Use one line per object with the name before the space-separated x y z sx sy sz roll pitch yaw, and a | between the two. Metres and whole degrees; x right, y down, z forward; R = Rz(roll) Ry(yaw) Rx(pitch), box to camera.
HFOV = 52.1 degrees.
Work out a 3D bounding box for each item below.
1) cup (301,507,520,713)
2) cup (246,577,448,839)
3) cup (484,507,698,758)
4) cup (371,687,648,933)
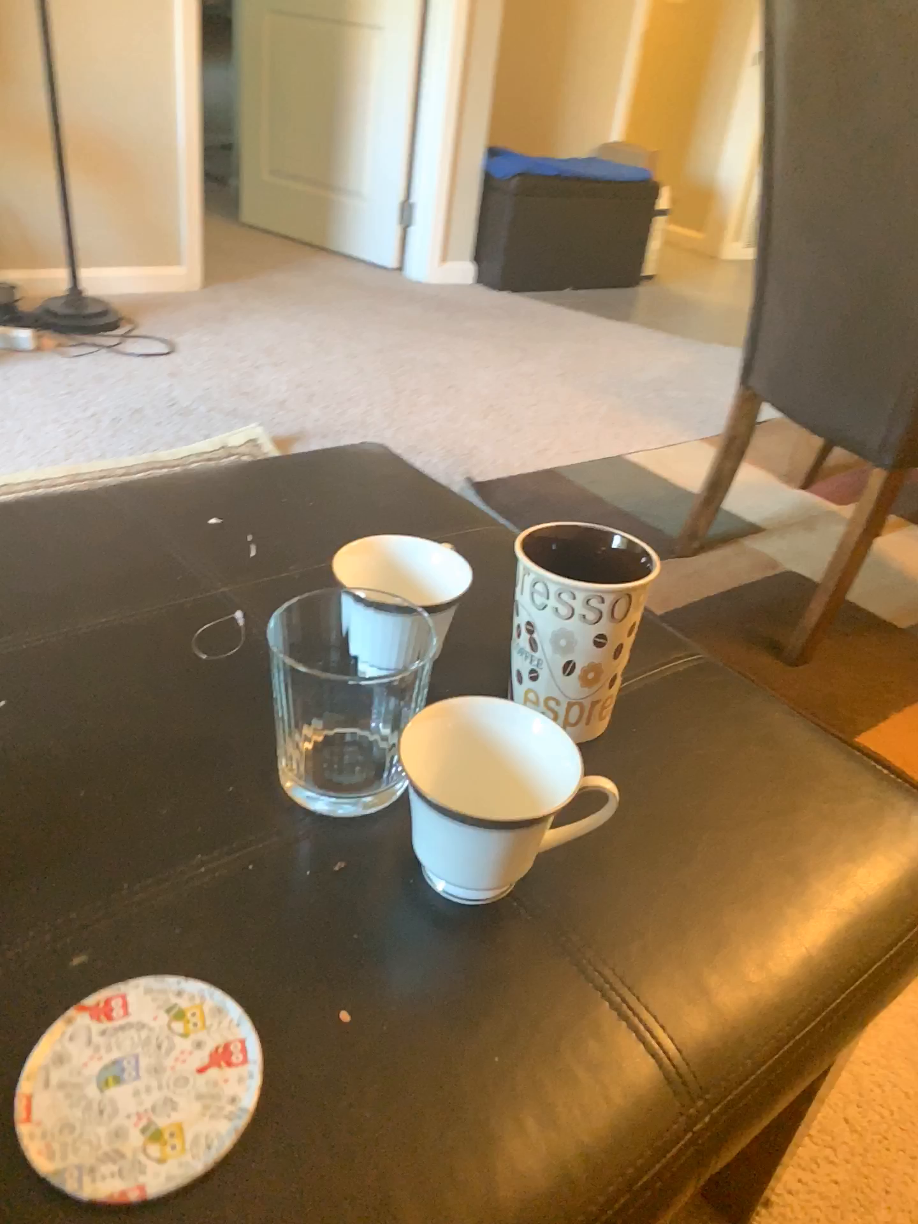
cup | -0.031 -0.006 0.617 0.090 0.070 0.110 25 35 25
cup | -0.062 0.053 0.537 0.100 0.099 0.101 6 31 -4
cup | 0.075 0.011 0.586 0.100 0.109 0.101 6 31 -4
cup | 0.020 0.097 0.475 0.120 0.060 0.101 5 32 -5
